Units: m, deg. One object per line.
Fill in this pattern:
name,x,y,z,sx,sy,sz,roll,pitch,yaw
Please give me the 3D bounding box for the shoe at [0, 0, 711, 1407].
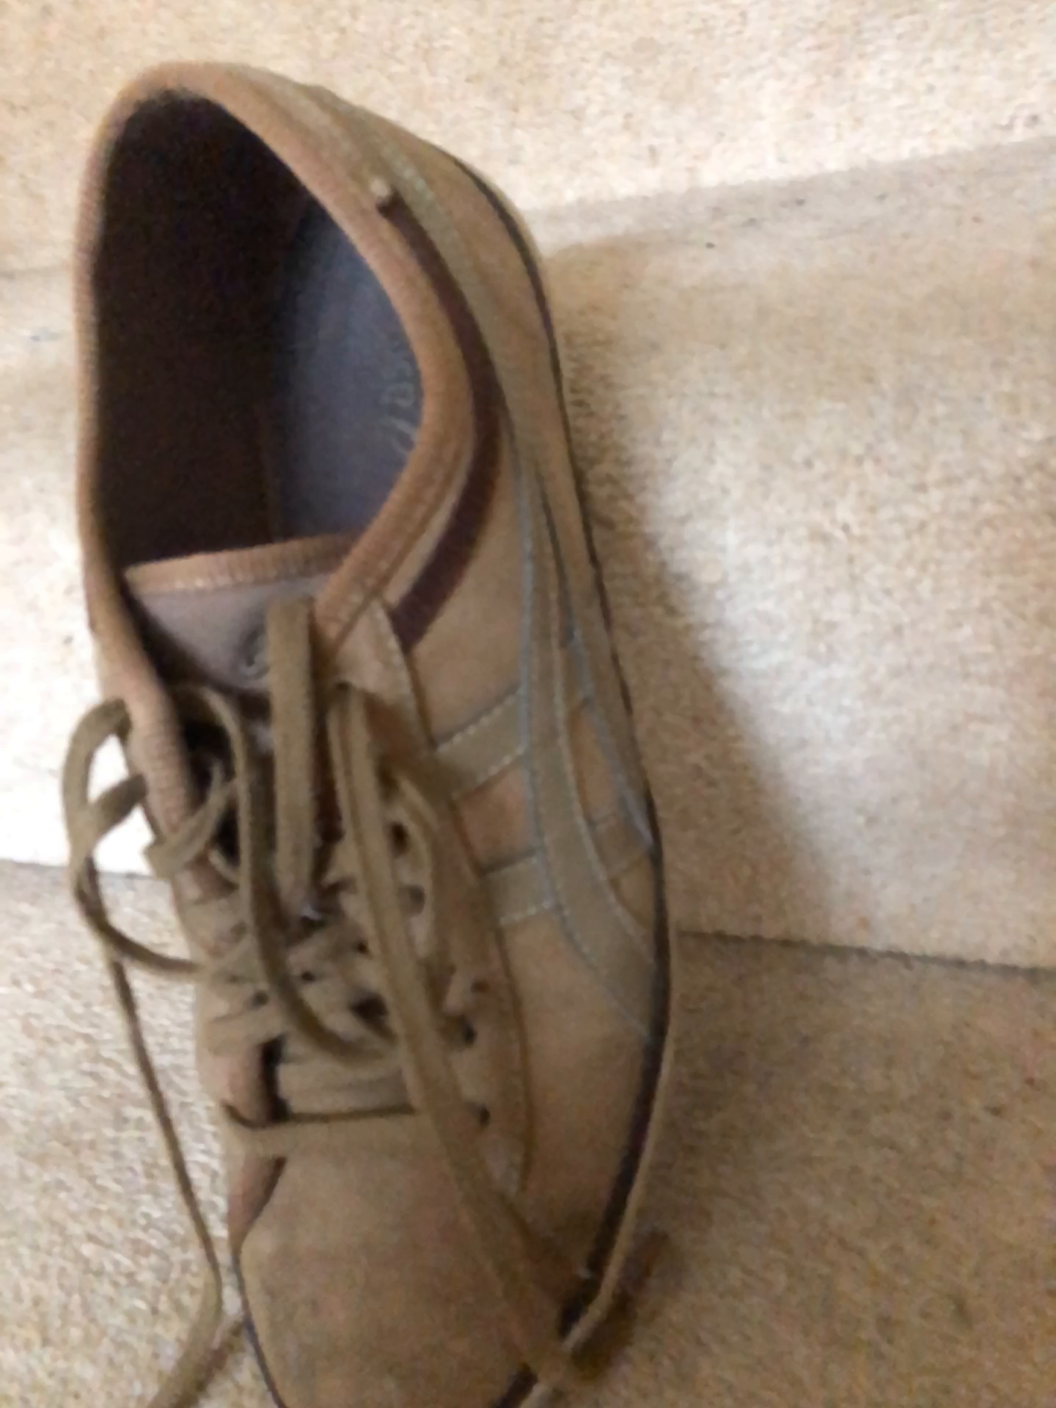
shoe,-0.033,0.026,0.250,0.110,0.301,0.120,-3,-10,26
